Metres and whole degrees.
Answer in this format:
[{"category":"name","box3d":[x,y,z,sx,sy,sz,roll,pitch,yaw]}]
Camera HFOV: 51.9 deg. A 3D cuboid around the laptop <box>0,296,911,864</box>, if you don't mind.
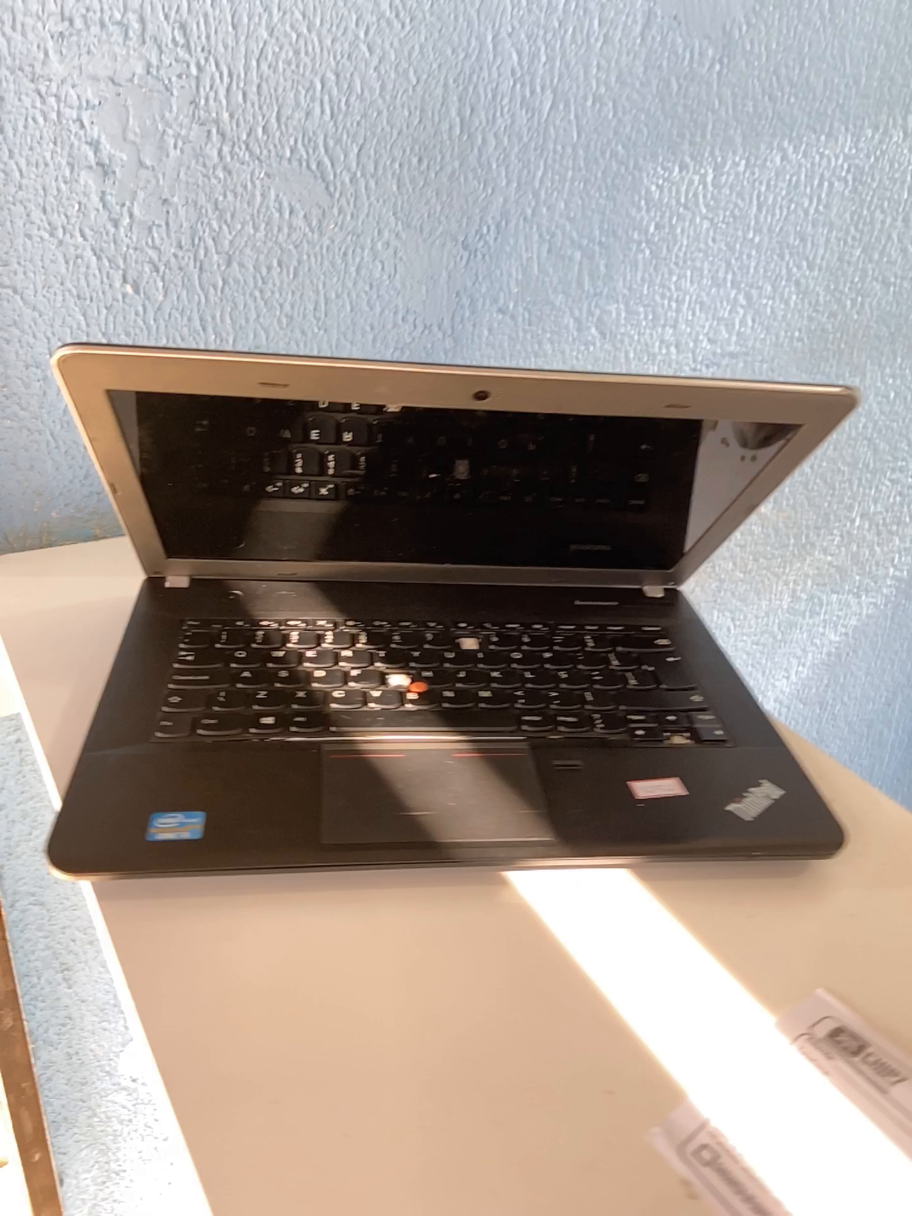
[{"category":"laptop","box3d":[-0.001,-0.031,0.446,0.330,0.165,0.232,0,28,-8]}]
